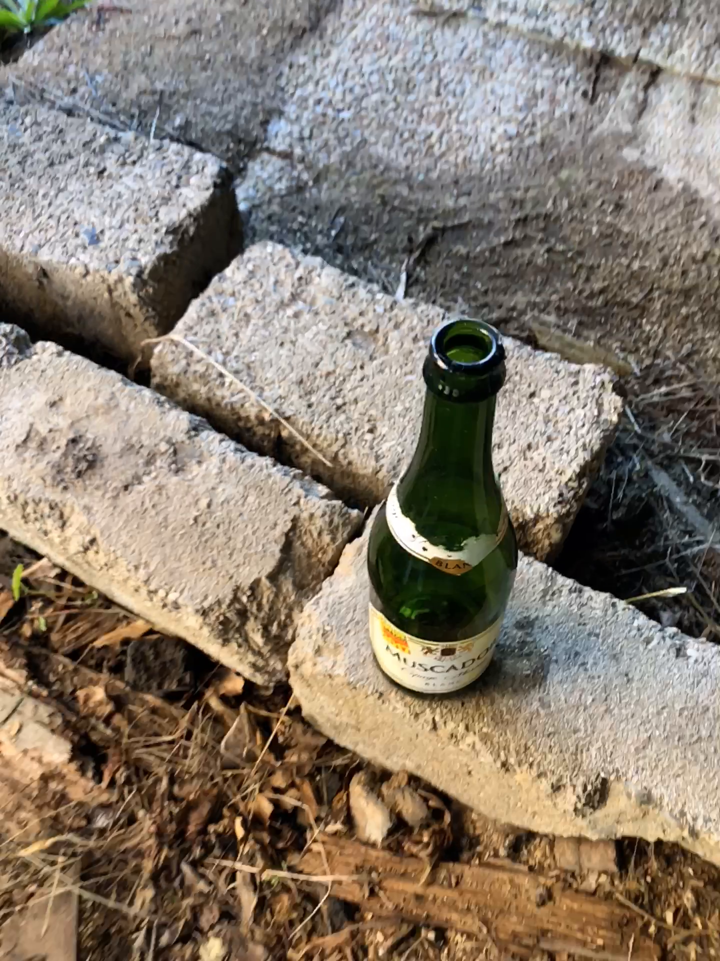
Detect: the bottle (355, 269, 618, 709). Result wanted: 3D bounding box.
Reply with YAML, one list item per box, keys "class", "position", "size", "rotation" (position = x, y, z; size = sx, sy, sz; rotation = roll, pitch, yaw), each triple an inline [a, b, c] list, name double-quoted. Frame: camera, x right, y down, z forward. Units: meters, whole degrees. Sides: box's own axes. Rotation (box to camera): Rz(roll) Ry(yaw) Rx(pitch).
- class: "bottle"
  position: [0.049, 0.031, 0.420]
  size: [0.090, 0.289, 0.090]
  rotation: [0, 59, 0]
